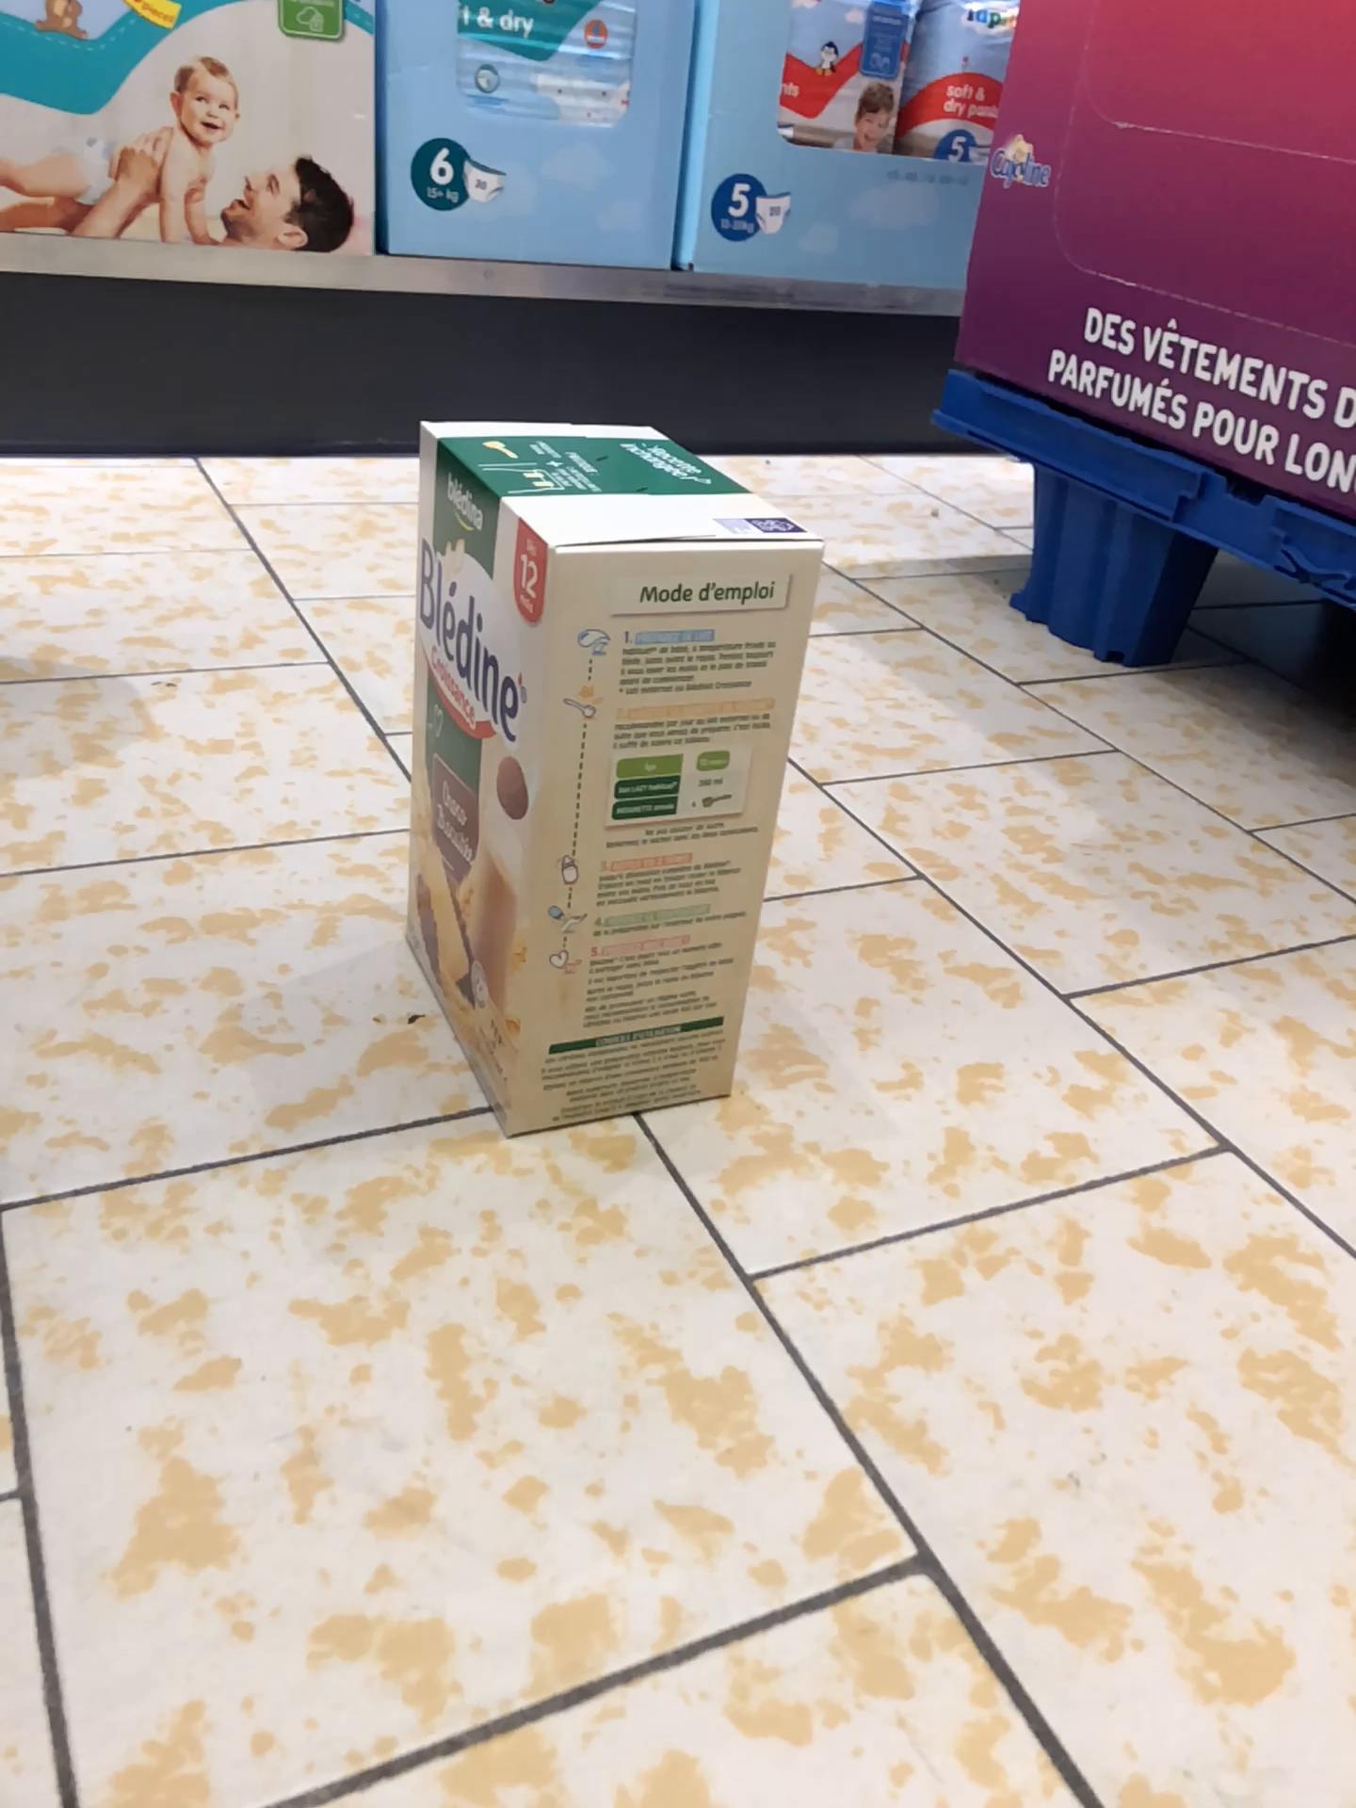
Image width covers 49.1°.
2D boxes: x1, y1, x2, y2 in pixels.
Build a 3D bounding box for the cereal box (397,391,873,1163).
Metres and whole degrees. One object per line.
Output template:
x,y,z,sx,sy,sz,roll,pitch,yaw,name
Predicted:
-0.025,-0.042,0.436,0.080,0.179,0.130,-6,31,-23,cereal box
